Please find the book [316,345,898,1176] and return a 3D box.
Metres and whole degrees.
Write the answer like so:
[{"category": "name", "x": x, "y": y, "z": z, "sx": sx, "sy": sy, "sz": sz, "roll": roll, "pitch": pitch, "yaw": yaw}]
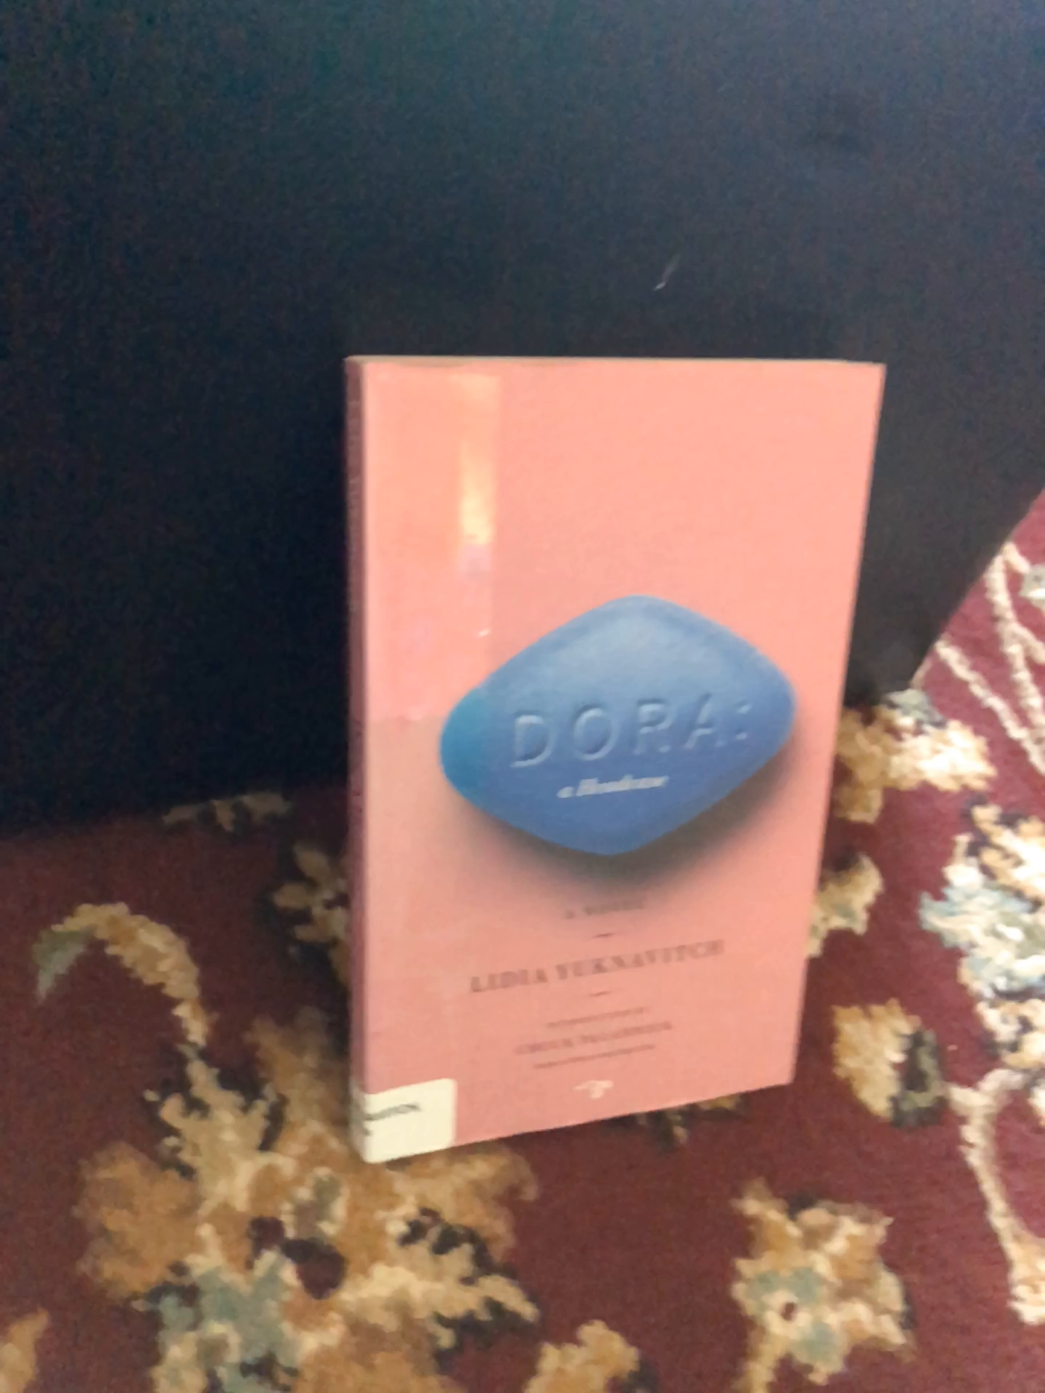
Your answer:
[{"category": "book", "x": 0.019, "y": 0.021, "z": 0.338, "sx": 0.149, "sy": 0.231, "sz": 0.030, "roll": -4, "pitch": 21, "yaw": -18}]
